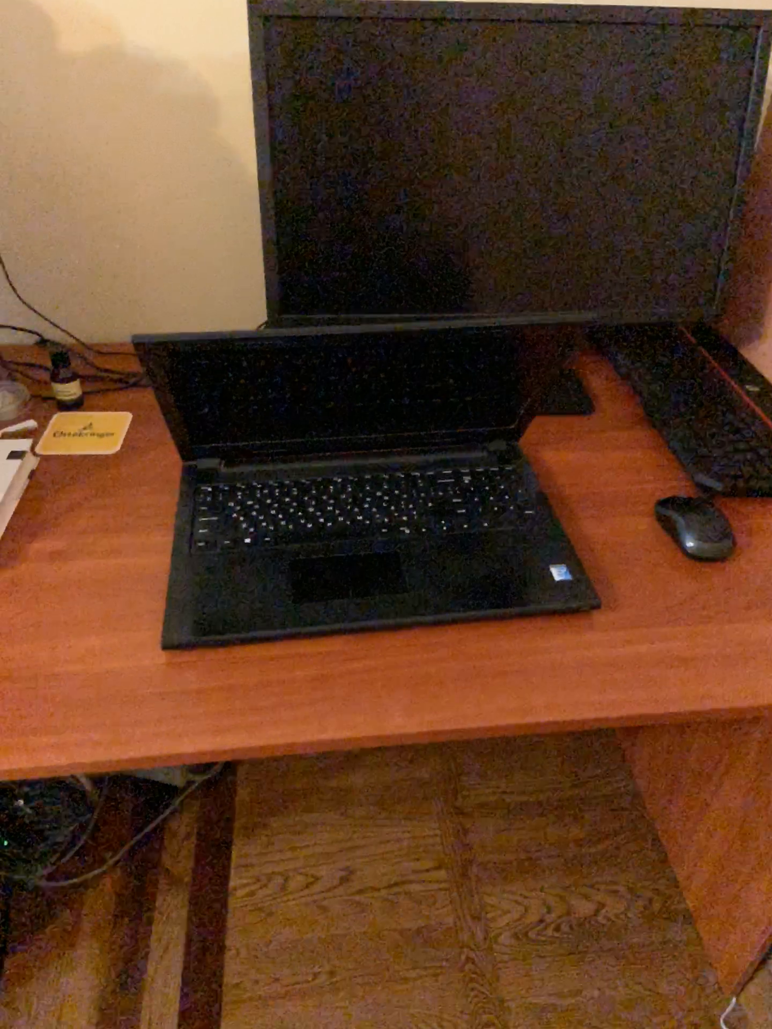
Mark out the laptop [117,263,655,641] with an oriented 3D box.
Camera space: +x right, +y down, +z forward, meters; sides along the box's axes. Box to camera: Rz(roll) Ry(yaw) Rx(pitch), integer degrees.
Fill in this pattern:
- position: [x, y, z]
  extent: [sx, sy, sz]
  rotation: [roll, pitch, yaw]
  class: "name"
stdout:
- position: [-0.015, -0.070, 0.700]
  extent: [0.372, 0.212, 0.255]
  rotation: [-4, 38, -7]
  class: "laptop"
